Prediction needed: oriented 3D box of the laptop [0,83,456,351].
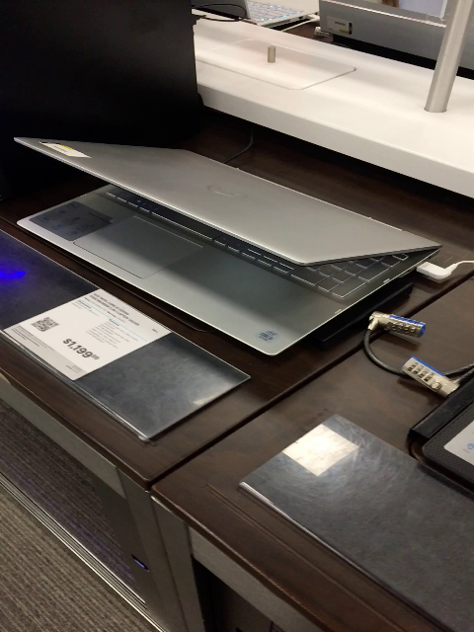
[{"bbox_3d":[-0.029,-0.129,0.662,0.376,0.108,0.239,29,50,29],"label":"laptop"}]
